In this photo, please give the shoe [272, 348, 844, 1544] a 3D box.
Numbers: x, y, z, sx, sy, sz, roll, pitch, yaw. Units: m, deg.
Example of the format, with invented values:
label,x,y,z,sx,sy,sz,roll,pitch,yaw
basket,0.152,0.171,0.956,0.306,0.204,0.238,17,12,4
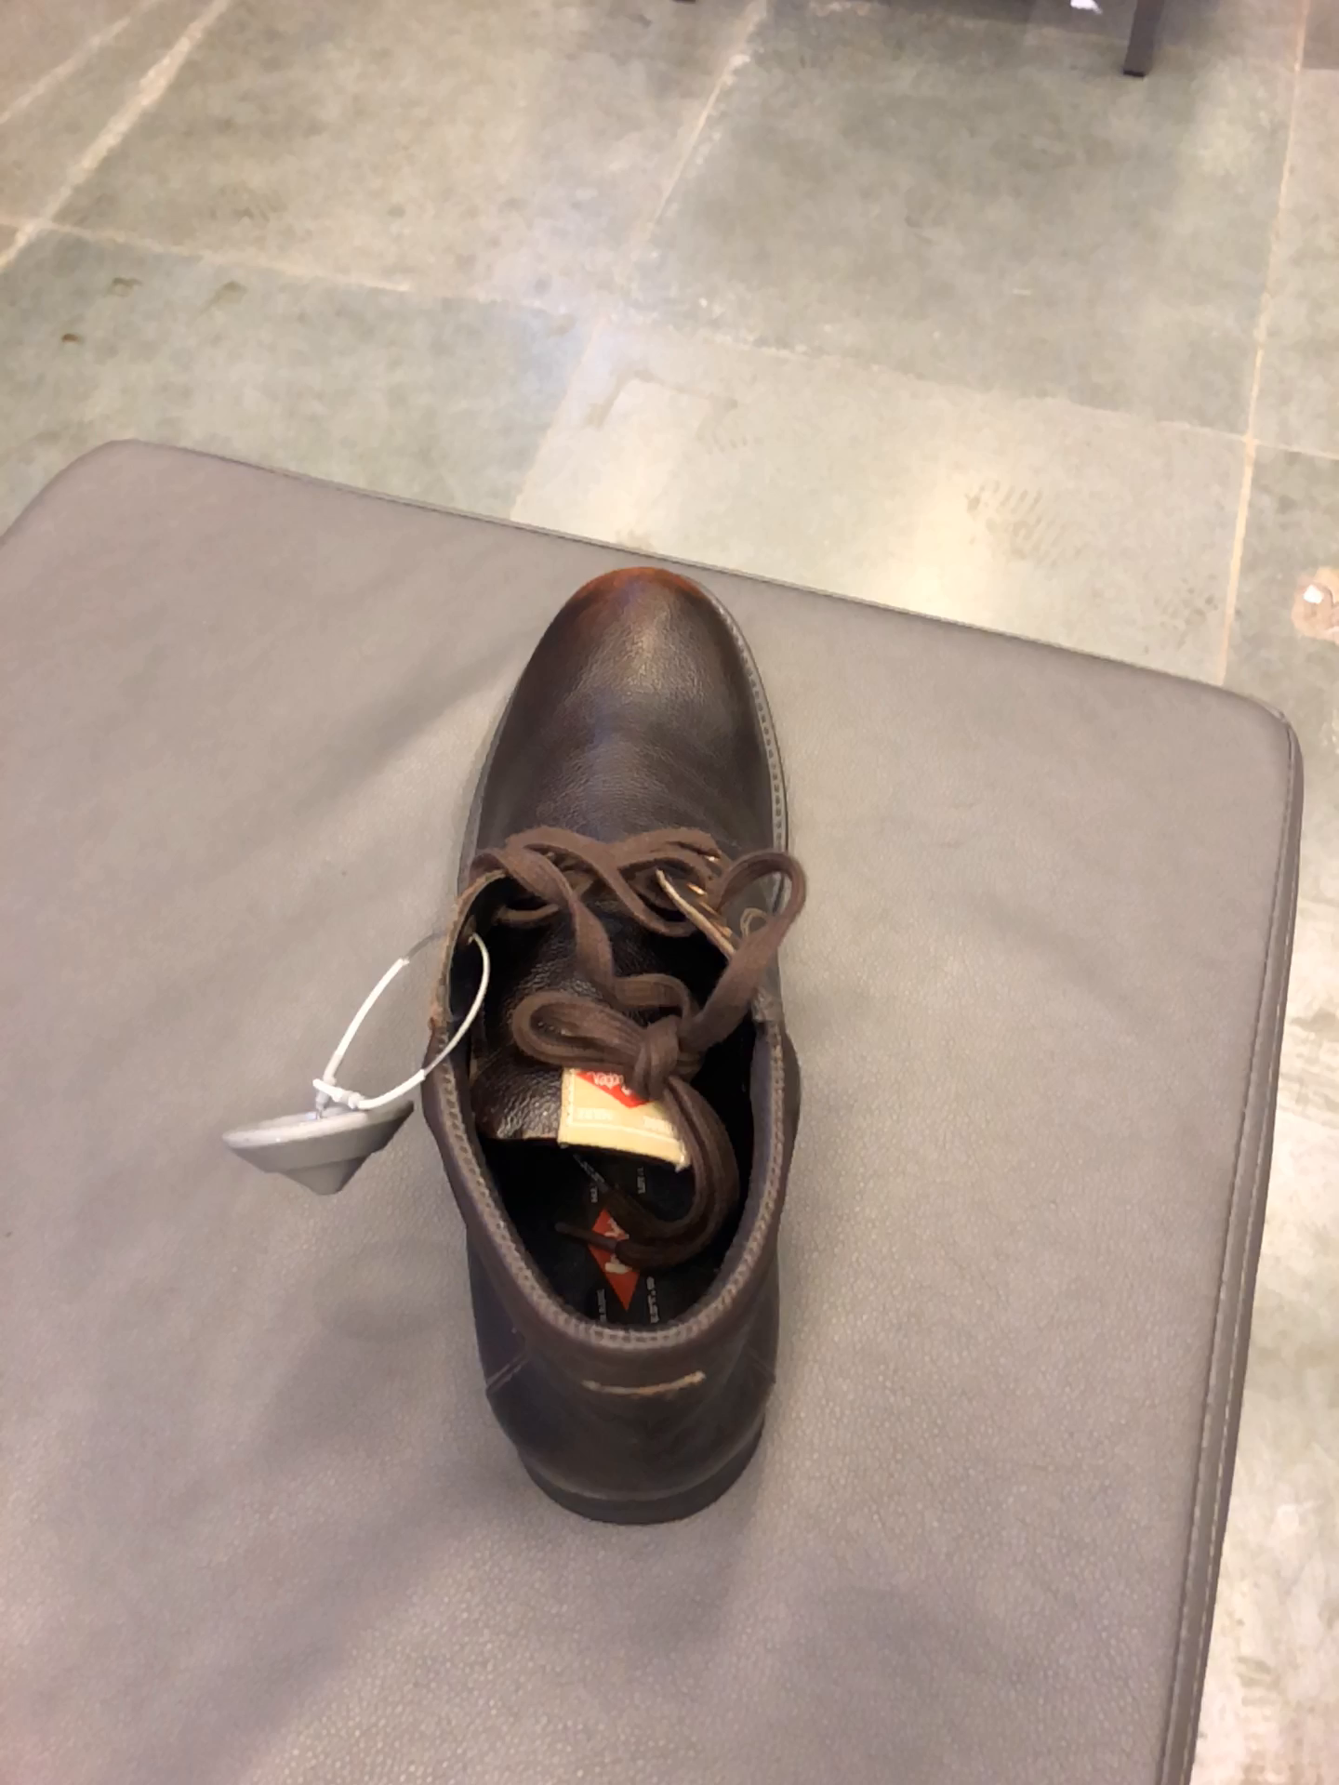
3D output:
label,x,y,z,sx,sy,sz,roll,pitch,yaw
shoe,-0.018,0.016,0.430,0.108,0.177,0.300,0,59,1
